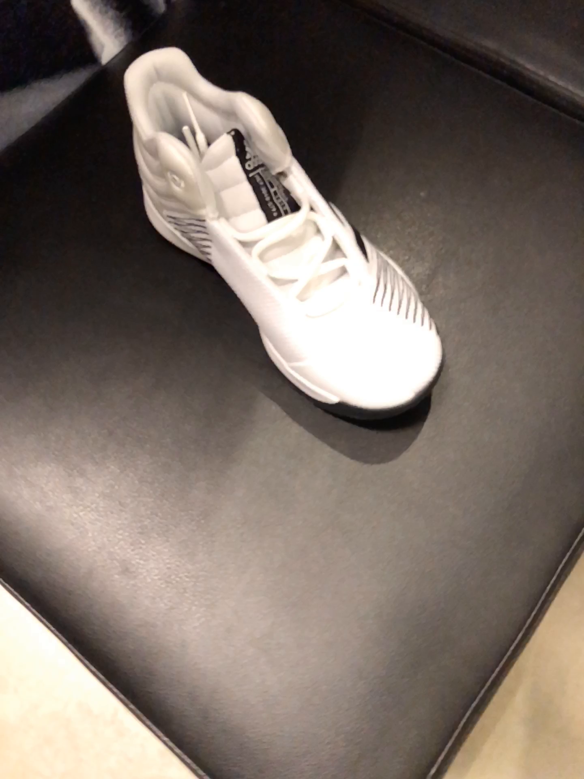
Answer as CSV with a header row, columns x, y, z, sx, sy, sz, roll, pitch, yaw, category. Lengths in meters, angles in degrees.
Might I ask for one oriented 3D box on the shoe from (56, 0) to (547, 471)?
x,y,z,sx,sy,sz,roll,pitch,yaw,category
-0.002,-0.083,0.349,0.100,0.110,0.220,-41,71,-13,shoe
